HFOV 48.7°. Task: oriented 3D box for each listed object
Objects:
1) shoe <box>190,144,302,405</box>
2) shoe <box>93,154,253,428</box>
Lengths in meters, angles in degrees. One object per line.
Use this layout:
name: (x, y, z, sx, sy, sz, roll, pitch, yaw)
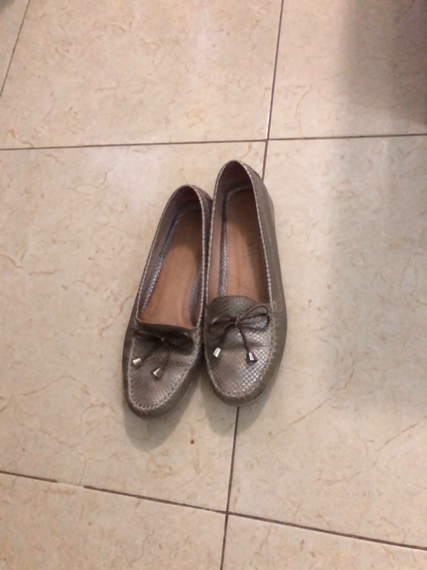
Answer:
shoe: (0.038, -0.010, 0.521, 0.100, 0.080, 0.270, -4, 71, 13)
shoe: (-0.037, 0.002, 0.554, 0.100, 0.080, 0.300, 8, 74, 17)
